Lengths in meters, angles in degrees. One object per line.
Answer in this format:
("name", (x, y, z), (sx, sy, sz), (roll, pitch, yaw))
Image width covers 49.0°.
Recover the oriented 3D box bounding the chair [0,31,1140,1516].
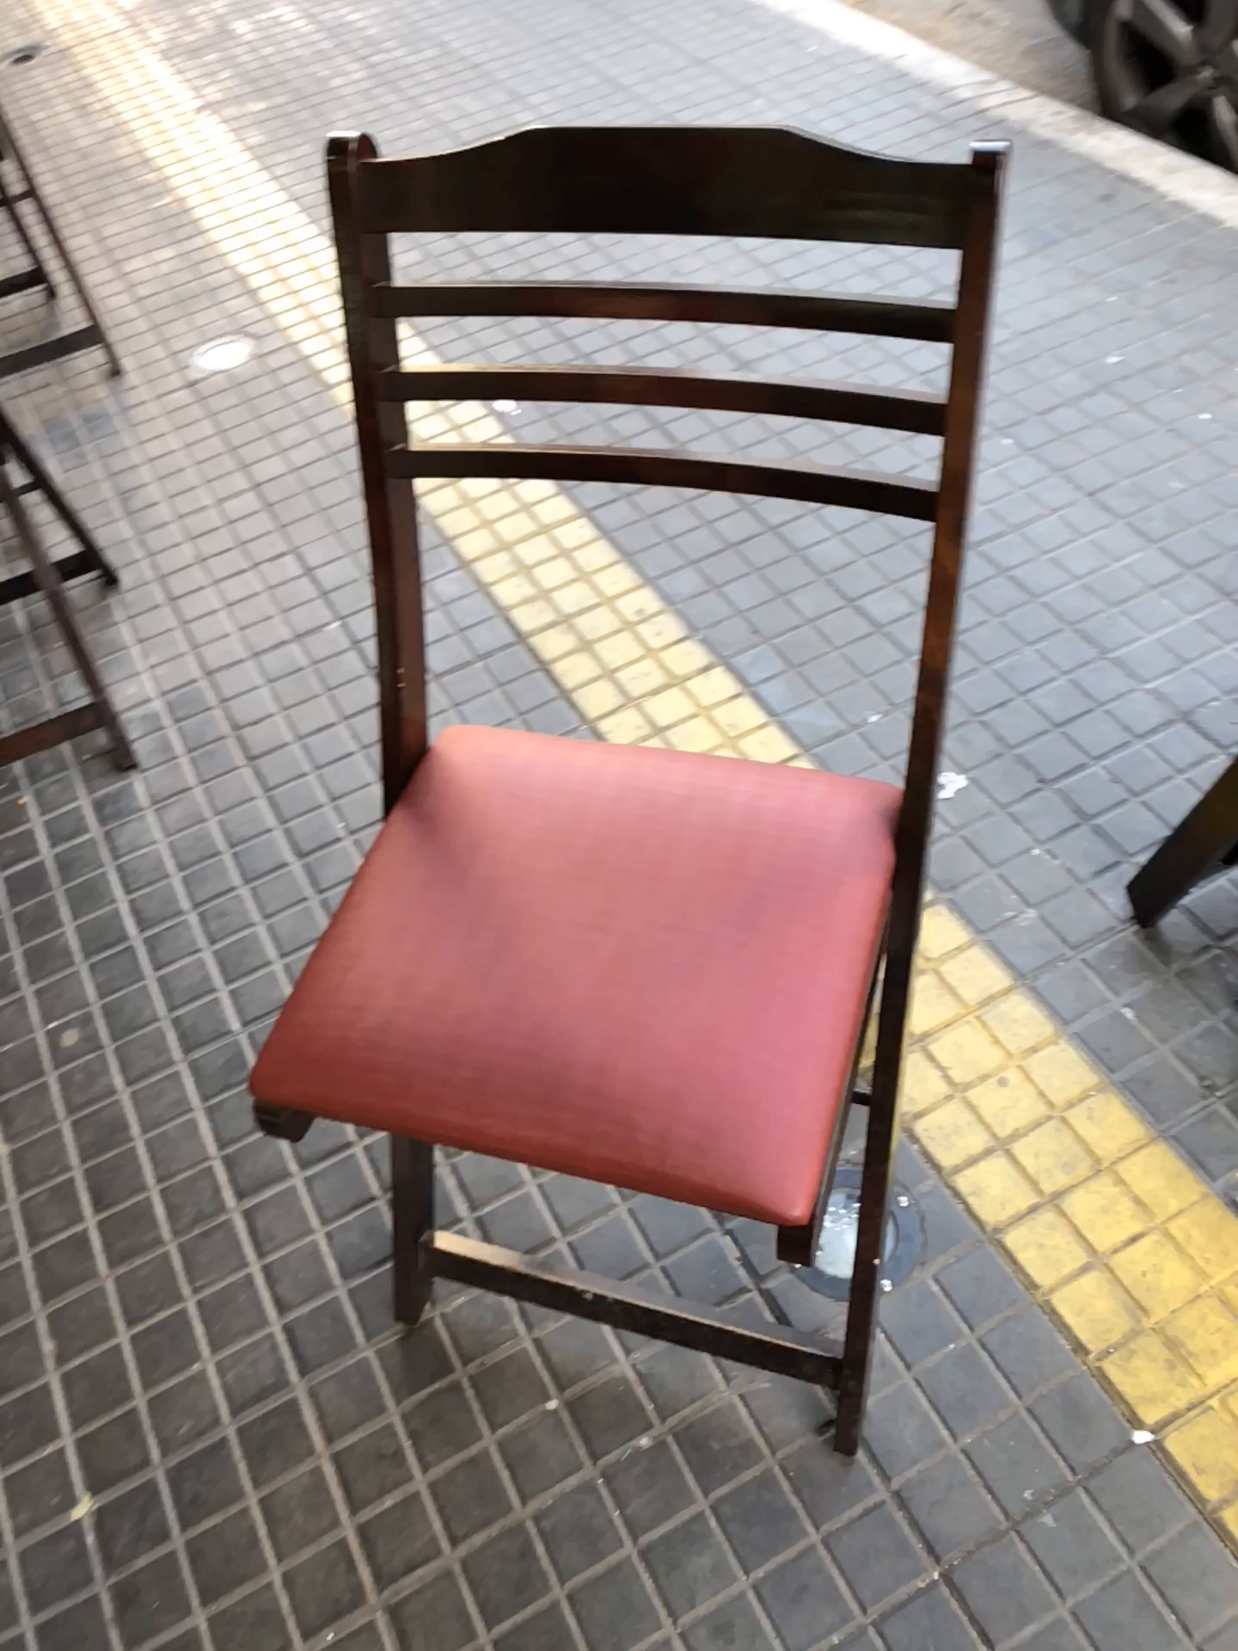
("chair", (0.000, 0.028, 0.916), (0.511, 0.845, 0.482), (9, 53, 18))
